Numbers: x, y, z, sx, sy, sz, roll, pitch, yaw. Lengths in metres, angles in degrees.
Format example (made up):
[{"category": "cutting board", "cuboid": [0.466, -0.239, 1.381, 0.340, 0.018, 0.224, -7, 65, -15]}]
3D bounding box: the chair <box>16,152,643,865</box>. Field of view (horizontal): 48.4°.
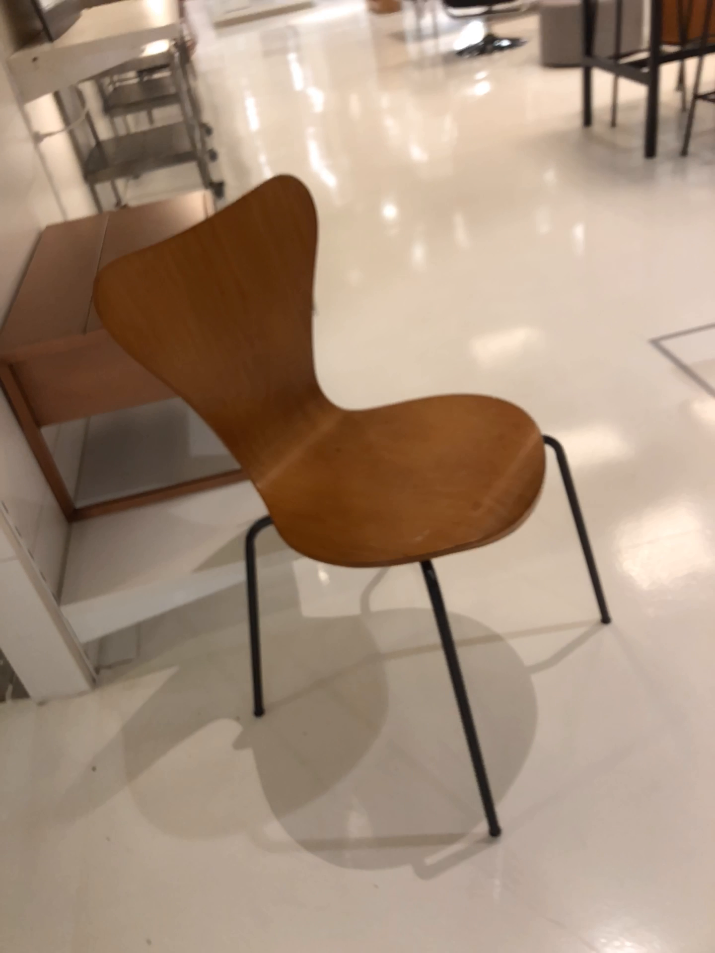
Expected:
[{"category": "chair", "cuboid": [0.040, 0.008, 1.200, 0.572, 0.794, 0.543, 15, 43, 33]}]
